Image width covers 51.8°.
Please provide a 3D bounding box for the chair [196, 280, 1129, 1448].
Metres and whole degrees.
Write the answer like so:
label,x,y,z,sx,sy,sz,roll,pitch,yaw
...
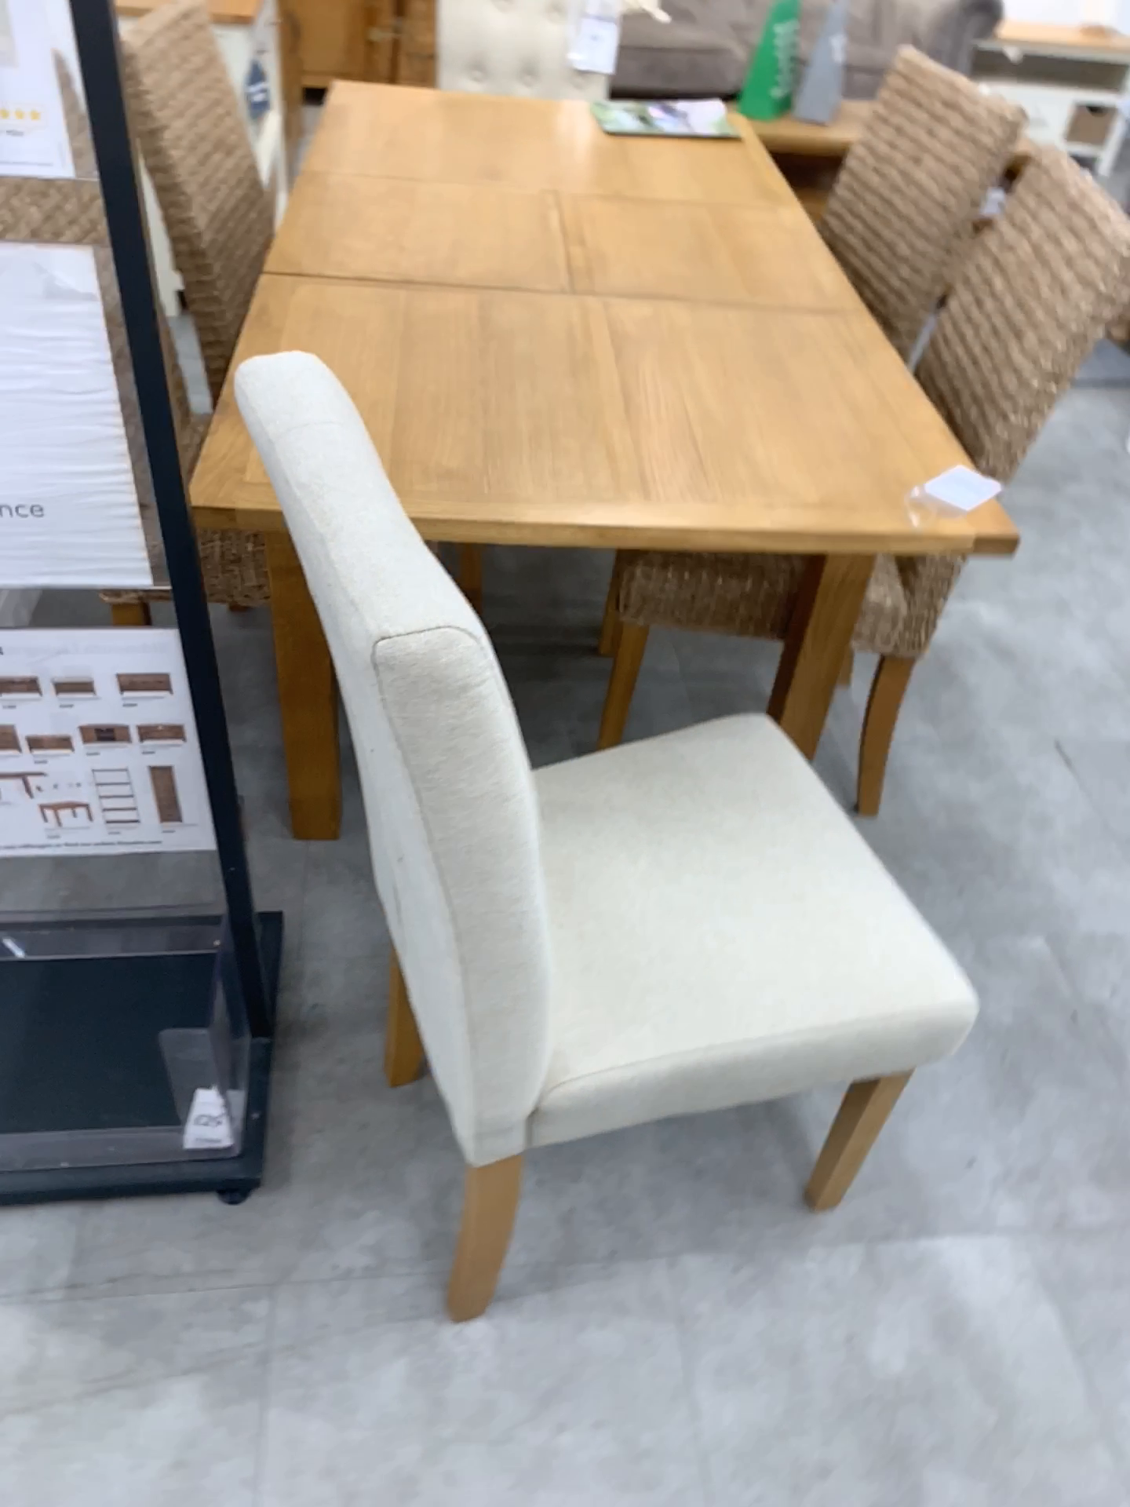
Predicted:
label,x,y,z,sx,sy,sz,roll,pitch,yaw
chair,0.059,0.122,1.066,0.610,0.896,0.483,-10,45,-18
